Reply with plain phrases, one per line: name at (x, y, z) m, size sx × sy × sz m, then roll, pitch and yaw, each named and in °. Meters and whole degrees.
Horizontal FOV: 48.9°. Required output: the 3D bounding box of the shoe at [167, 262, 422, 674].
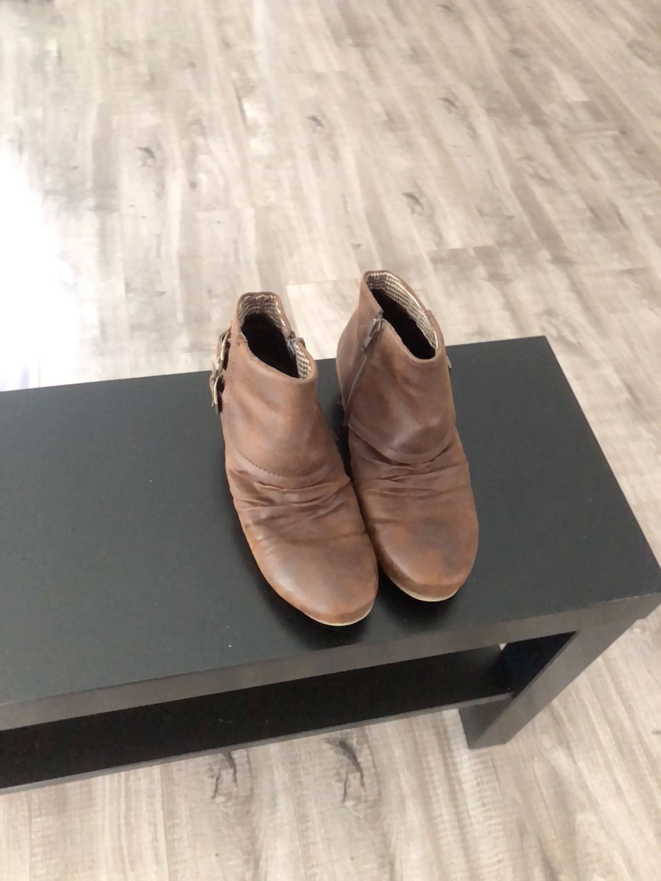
shoe at (-0.036, 0.012, 0.503) m, size 0.090 × 0.130 × 0.241 m, roll -14°, pitch 56°, yaw -14°

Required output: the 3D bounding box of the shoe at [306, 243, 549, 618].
shoe at (0.051, -0.016, 0.517) m, size 0.090 × 0.110 × 0.241 m, roll -7°, pitch 54°, yaw -10°
